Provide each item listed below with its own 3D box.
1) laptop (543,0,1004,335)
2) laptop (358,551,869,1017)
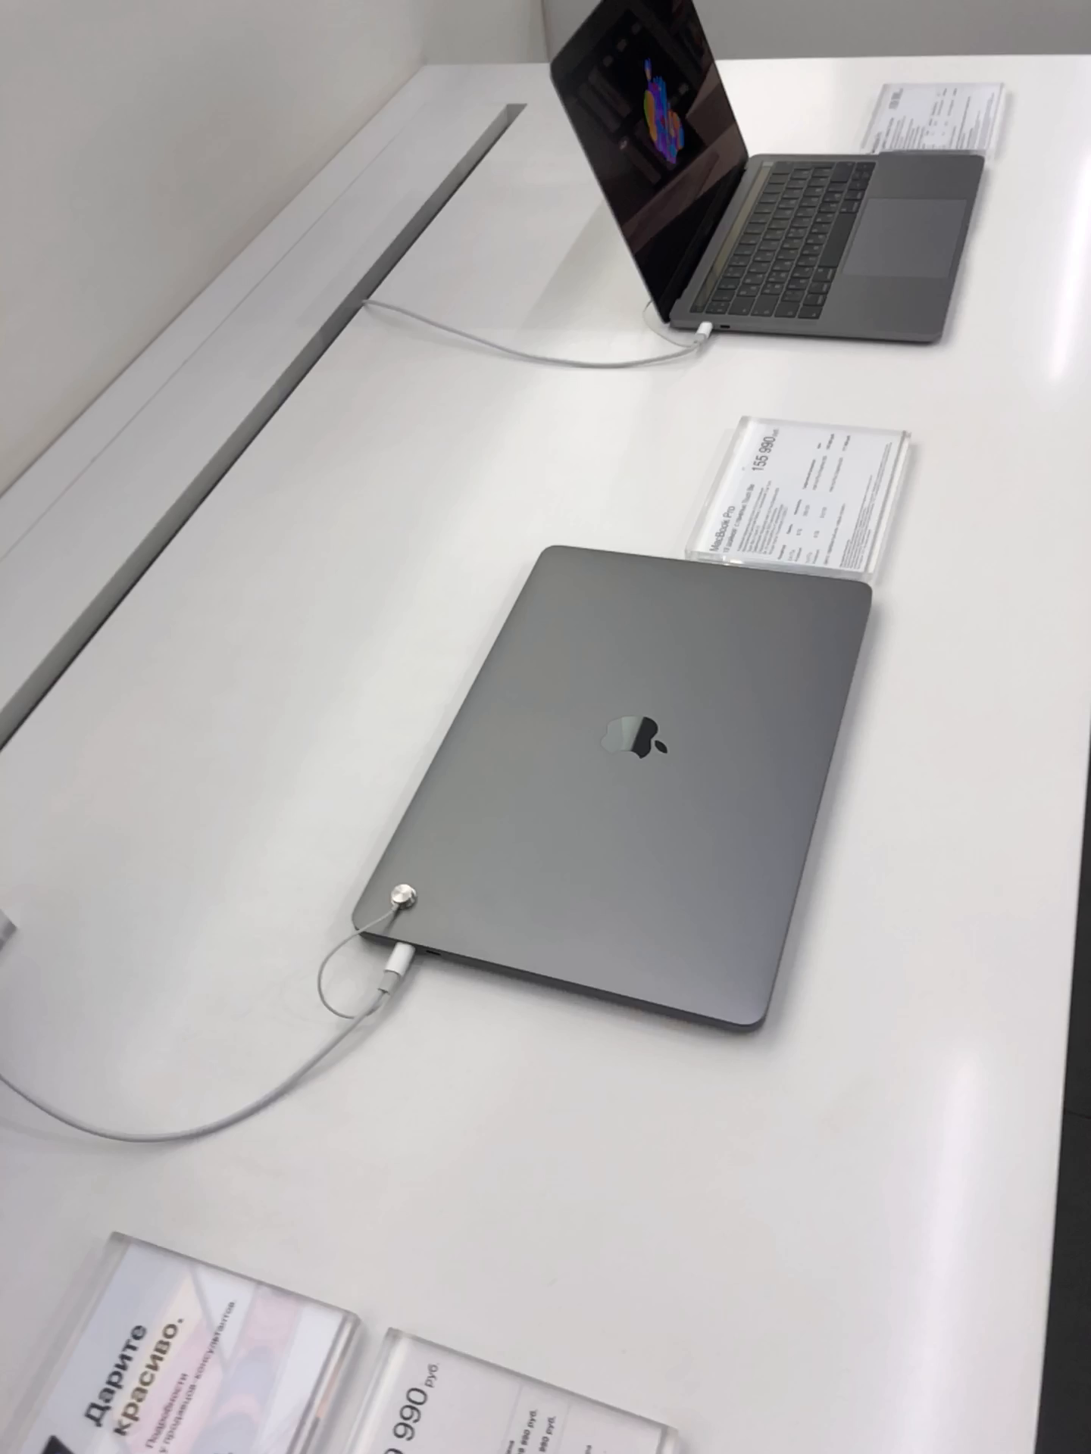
[{"bbox_3d":[0.192,-0.478,0.943,0.276,0.187,0.310,8,48,15],"label":"laptop"},{"bbox_3d":[0.048,0.009,0.652,0.202,0.001,0.280,11,52,18],"label":"laptop"}]
